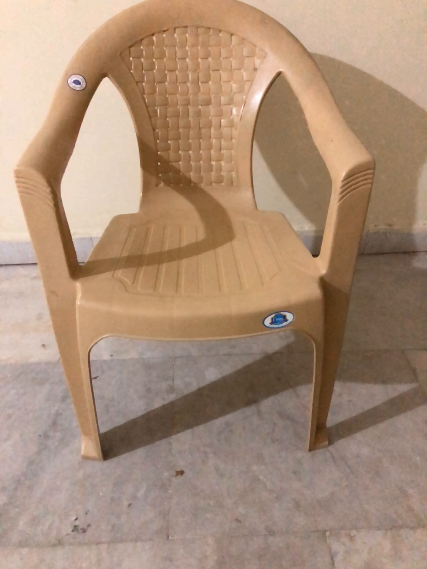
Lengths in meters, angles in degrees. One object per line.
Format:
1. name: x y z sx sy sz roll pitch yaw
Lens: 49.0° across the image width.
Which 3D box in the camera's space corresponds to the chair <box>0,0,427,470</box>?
1. chair: -0.034 -0.137 0.941 0.590 0.745 0.604 -3 37 -3
